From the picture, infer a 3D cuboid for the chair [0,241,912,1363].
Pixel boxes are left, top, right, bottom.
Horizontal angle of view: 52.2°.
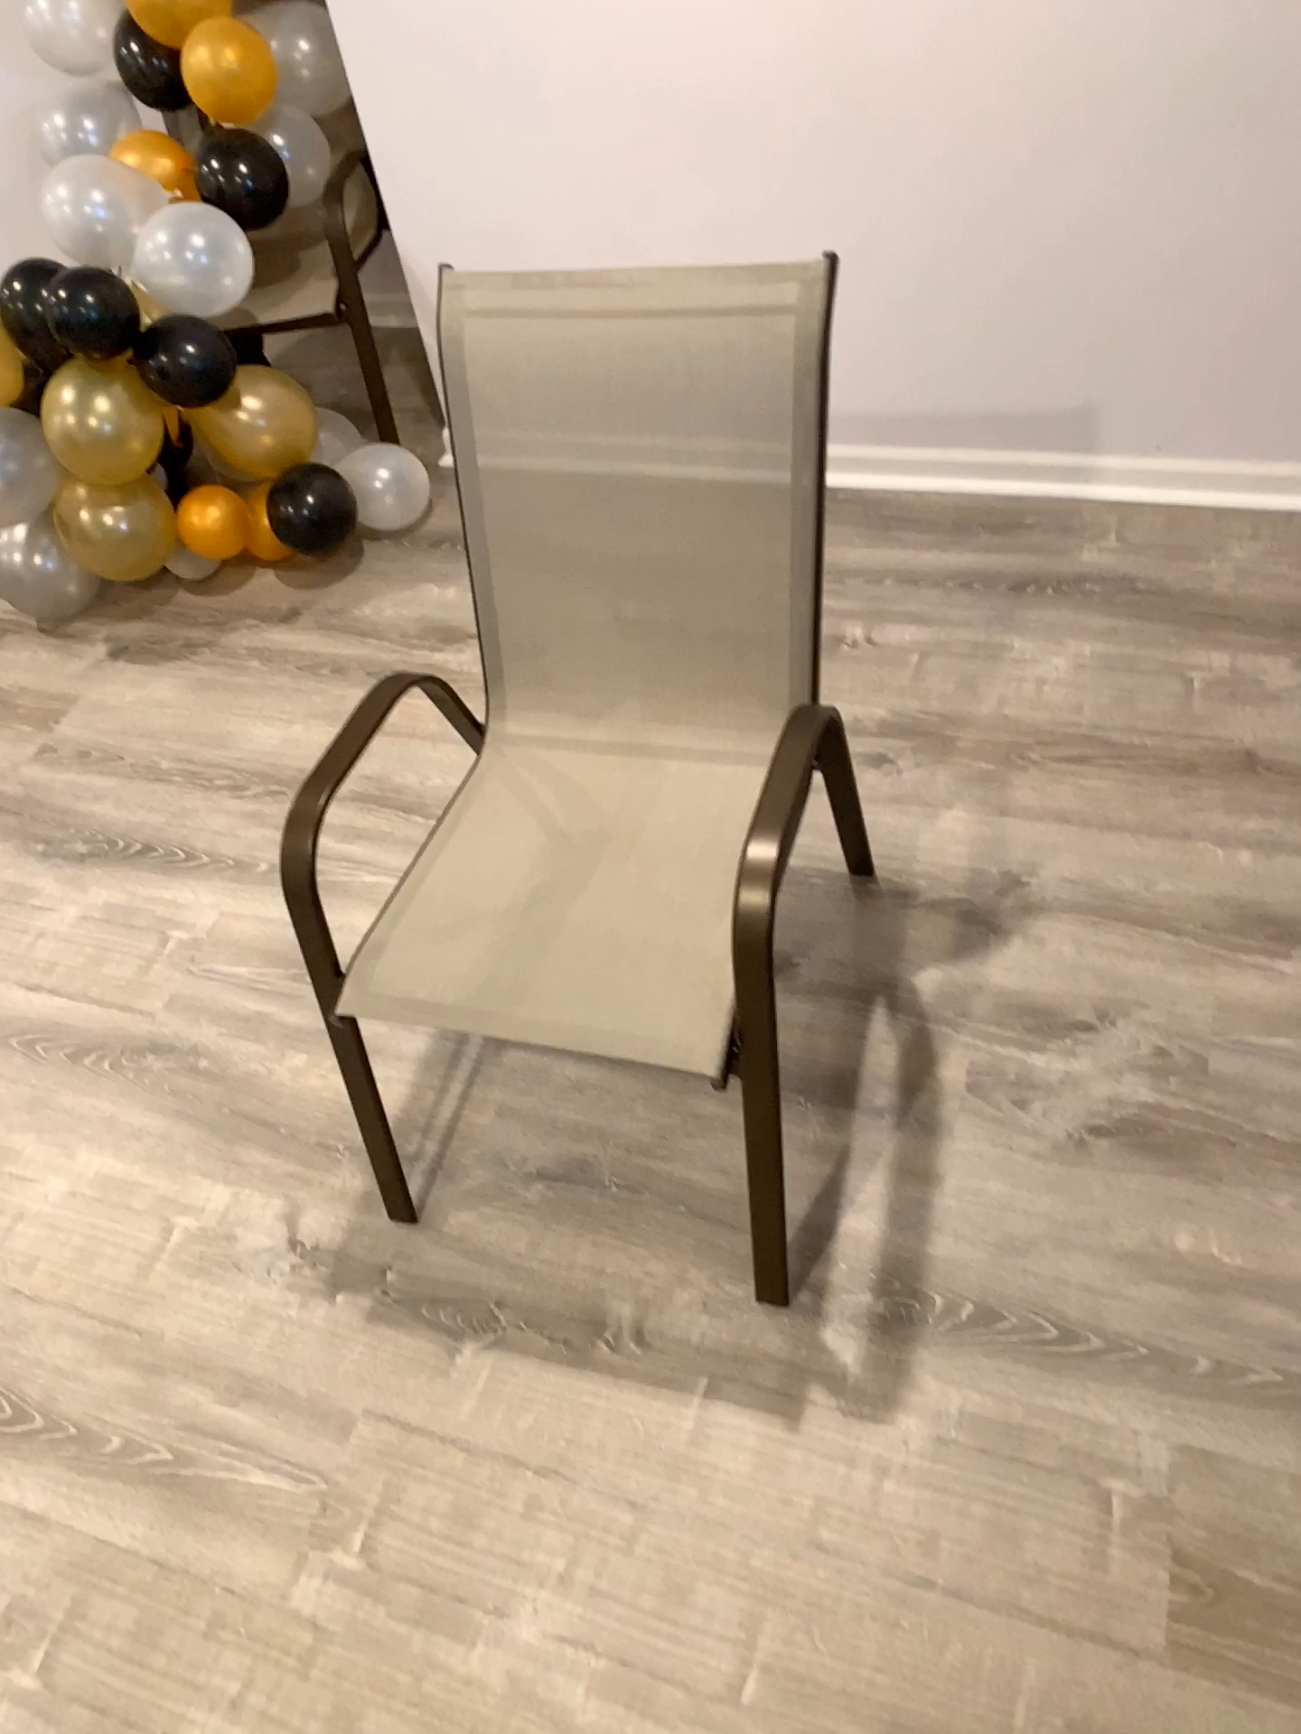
[{"bbox_3d":[-0.062,-0.057,1.408,0.565,0.874,0.719,7,50,17],"label":"chair"}]
